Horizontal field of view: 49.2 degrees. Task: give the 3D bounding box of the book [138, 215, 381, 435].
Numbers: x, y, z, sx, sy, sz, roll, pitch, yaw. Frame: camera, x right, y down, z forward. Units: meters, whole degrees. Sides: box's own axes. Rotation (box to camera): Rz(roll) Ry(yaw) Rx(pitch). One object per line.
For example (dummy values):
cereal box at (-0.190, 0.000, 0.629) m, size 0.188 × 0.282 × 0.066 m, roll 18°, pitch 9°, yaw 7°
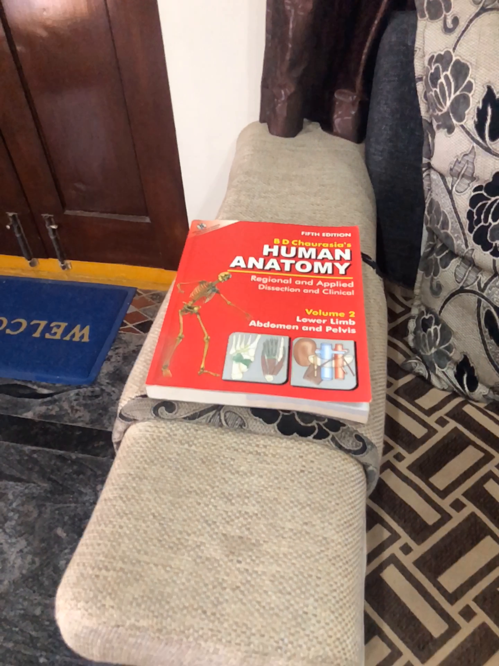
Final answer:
book at (0.022, -0.028, 0.607) m, size 0.220 × 0.040 × 0.291 m, roll 3°, pitch 46°, yaw 5°
